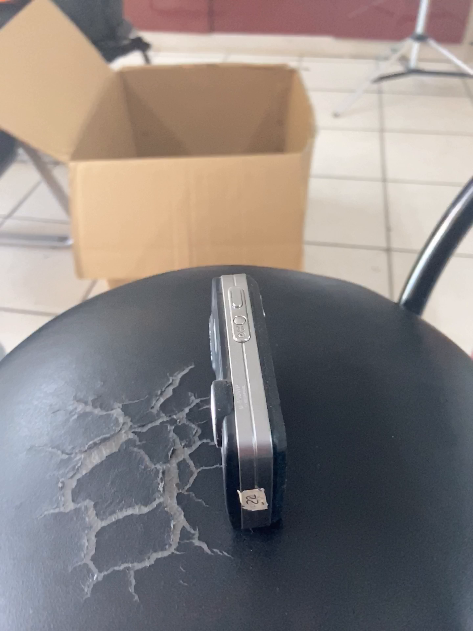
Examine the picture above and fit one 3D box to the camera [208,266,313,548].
[{"bbox_3d":[0.006,0.034,0.212,0.030,0.060,0.101,-4,44,-2],"label":"camera"}]
